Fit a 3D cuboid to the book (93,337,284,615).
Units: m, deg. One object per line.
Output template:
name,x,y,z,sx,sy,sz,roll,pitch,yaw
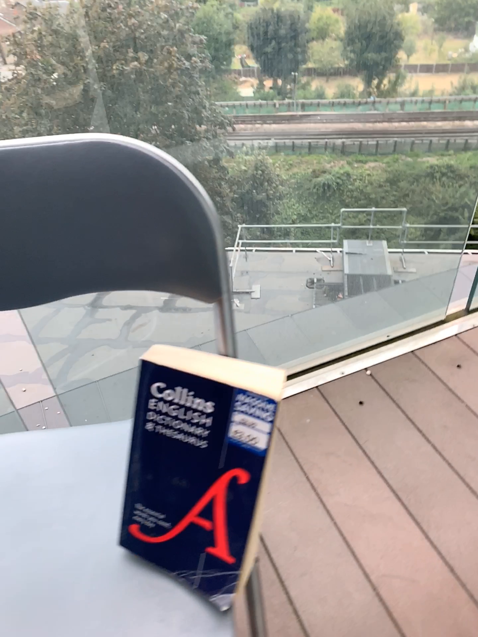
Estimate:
book,-0.051,0.136,0.443,0.140,0.199,0.060,15,16,22
